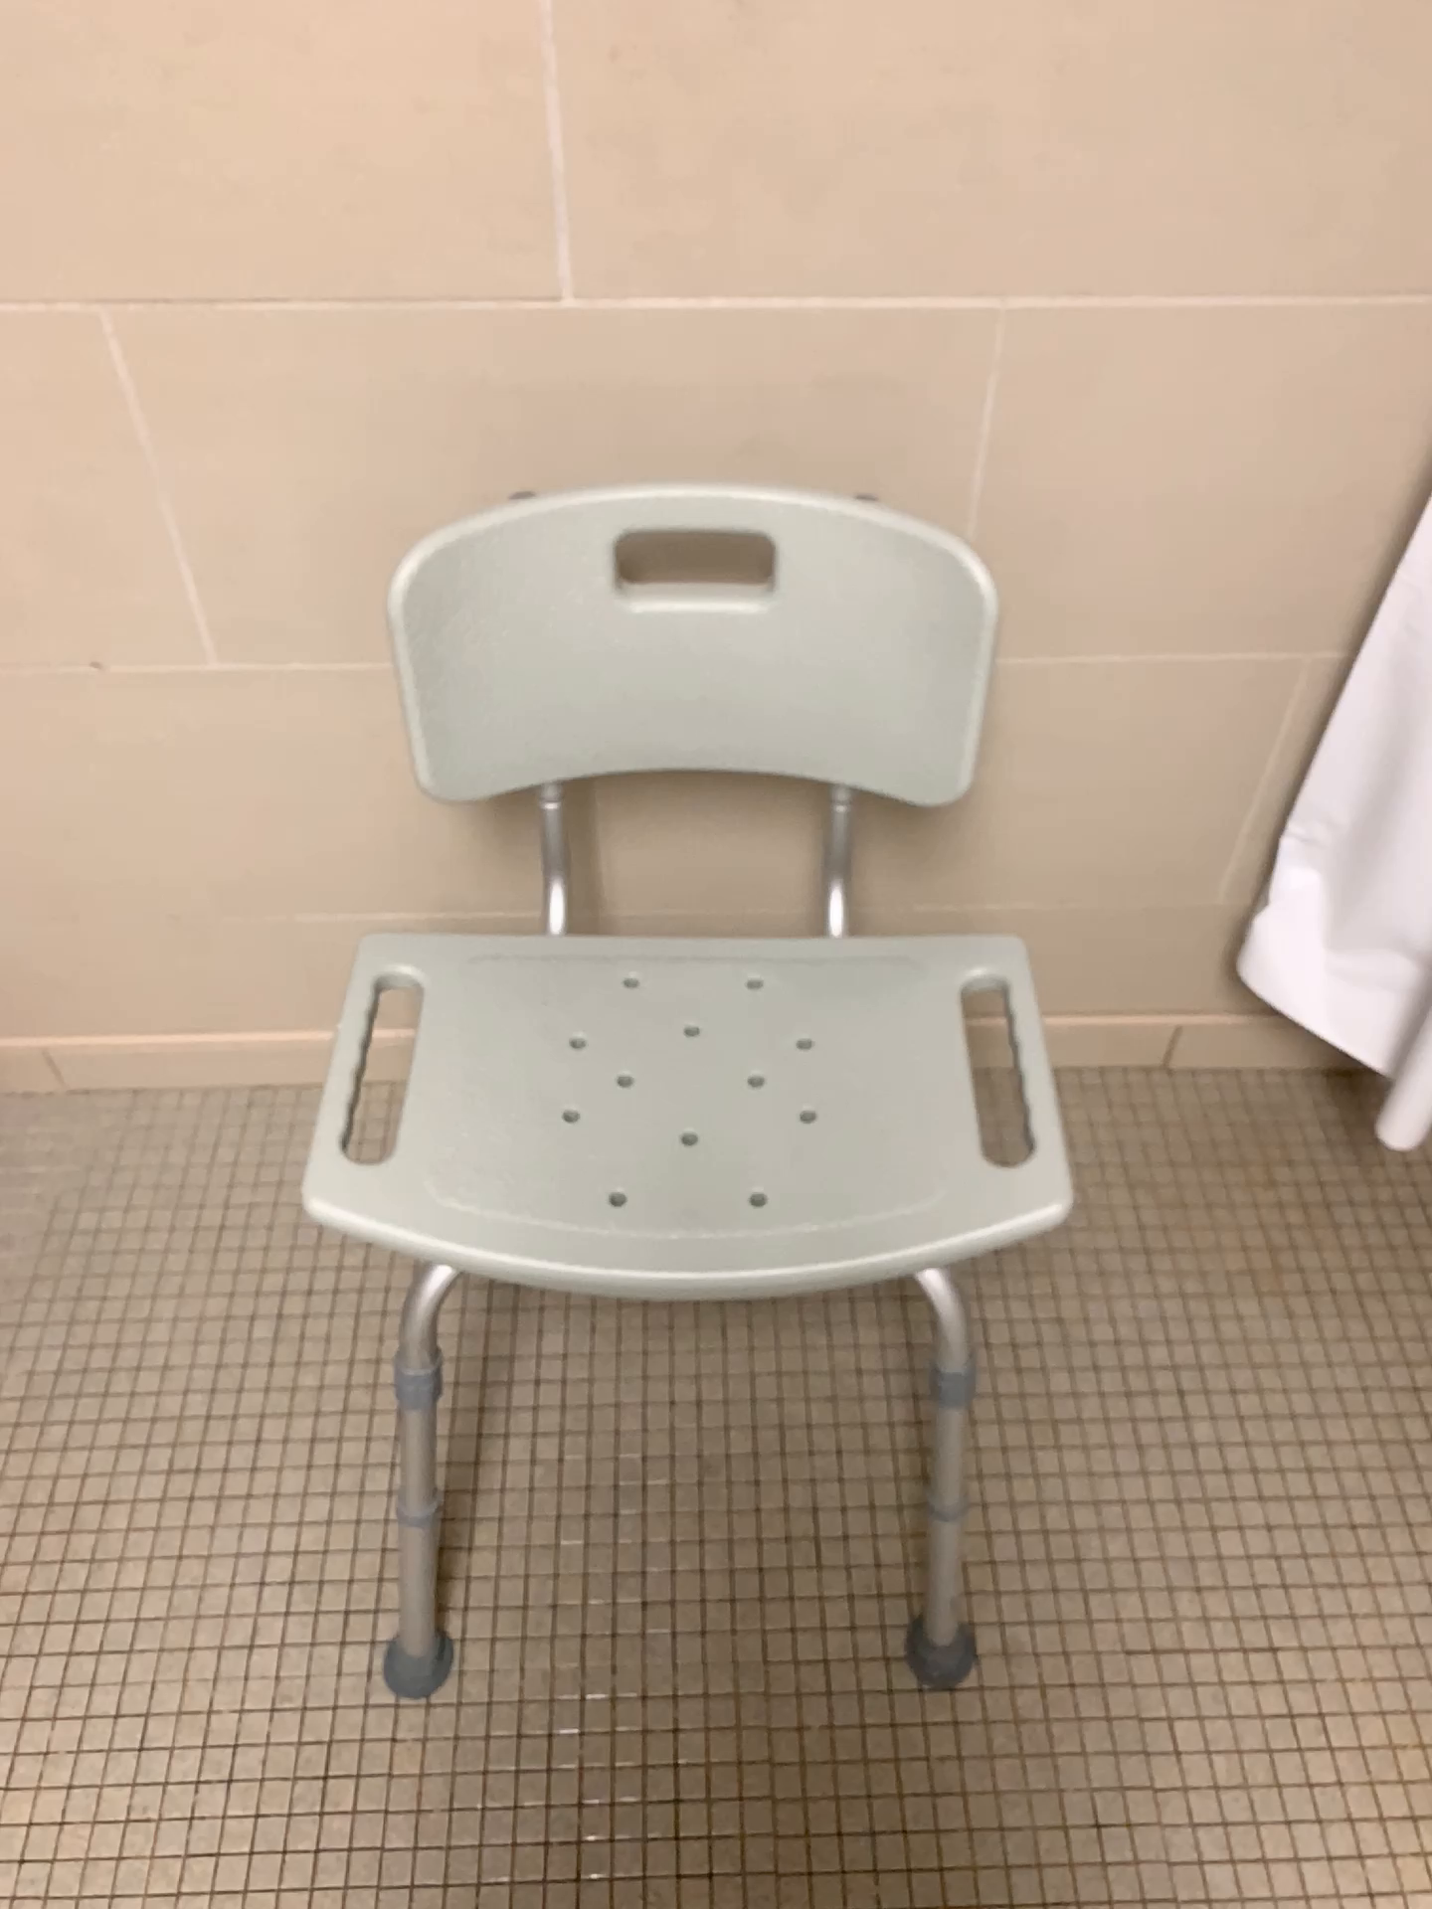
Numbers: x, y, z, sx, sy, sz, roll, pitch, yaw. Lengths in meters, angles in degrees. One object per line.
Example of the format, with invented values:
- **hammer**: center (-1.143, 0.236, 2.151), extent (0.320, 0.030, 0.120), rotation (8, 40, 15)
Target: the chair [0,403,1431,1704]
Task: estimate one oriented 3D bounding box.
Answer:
- **chair**: center (0.021, 0.124, 0.972), extent (0.549, 0.746, 0.524), rotation (0, 52, 2)
